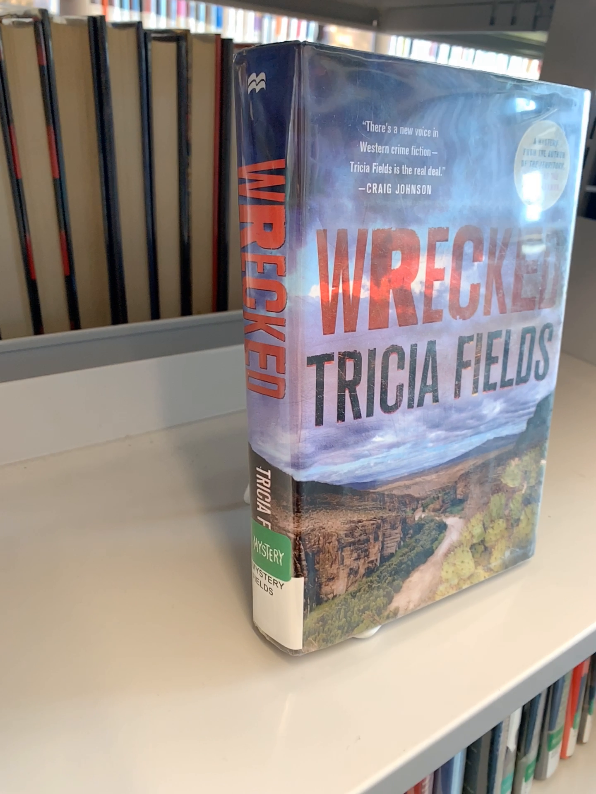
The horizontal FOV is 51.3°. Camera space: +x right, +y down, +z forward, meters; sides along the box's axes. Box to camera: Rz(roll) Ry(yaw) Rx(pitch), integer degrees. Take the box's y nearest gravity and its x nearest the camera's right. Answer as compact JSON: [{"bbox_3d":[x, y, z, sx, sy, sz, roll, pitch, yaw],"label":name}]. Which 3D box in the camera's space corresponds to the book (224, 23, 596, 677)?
[{"bbox_3d":[0.051,-0.016,0.242,0.150,0.203,0.040,-11,20,-31],"label":"book"}]
